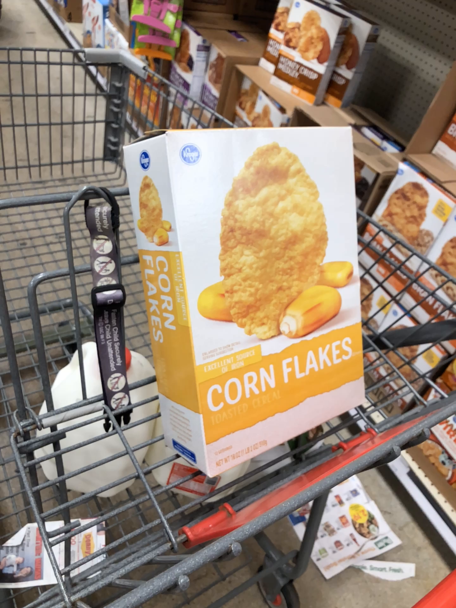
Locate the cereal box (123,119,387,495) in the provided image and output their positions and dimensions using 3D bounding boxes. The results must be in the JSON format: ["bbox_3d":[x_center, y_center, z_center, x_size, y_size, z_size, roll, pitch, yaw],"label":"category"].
[{"bbox_3d":[0.043,-0.013,0.492,0.230,0.300,0.080,-15,17,-32],"label":"cereal box"}]
